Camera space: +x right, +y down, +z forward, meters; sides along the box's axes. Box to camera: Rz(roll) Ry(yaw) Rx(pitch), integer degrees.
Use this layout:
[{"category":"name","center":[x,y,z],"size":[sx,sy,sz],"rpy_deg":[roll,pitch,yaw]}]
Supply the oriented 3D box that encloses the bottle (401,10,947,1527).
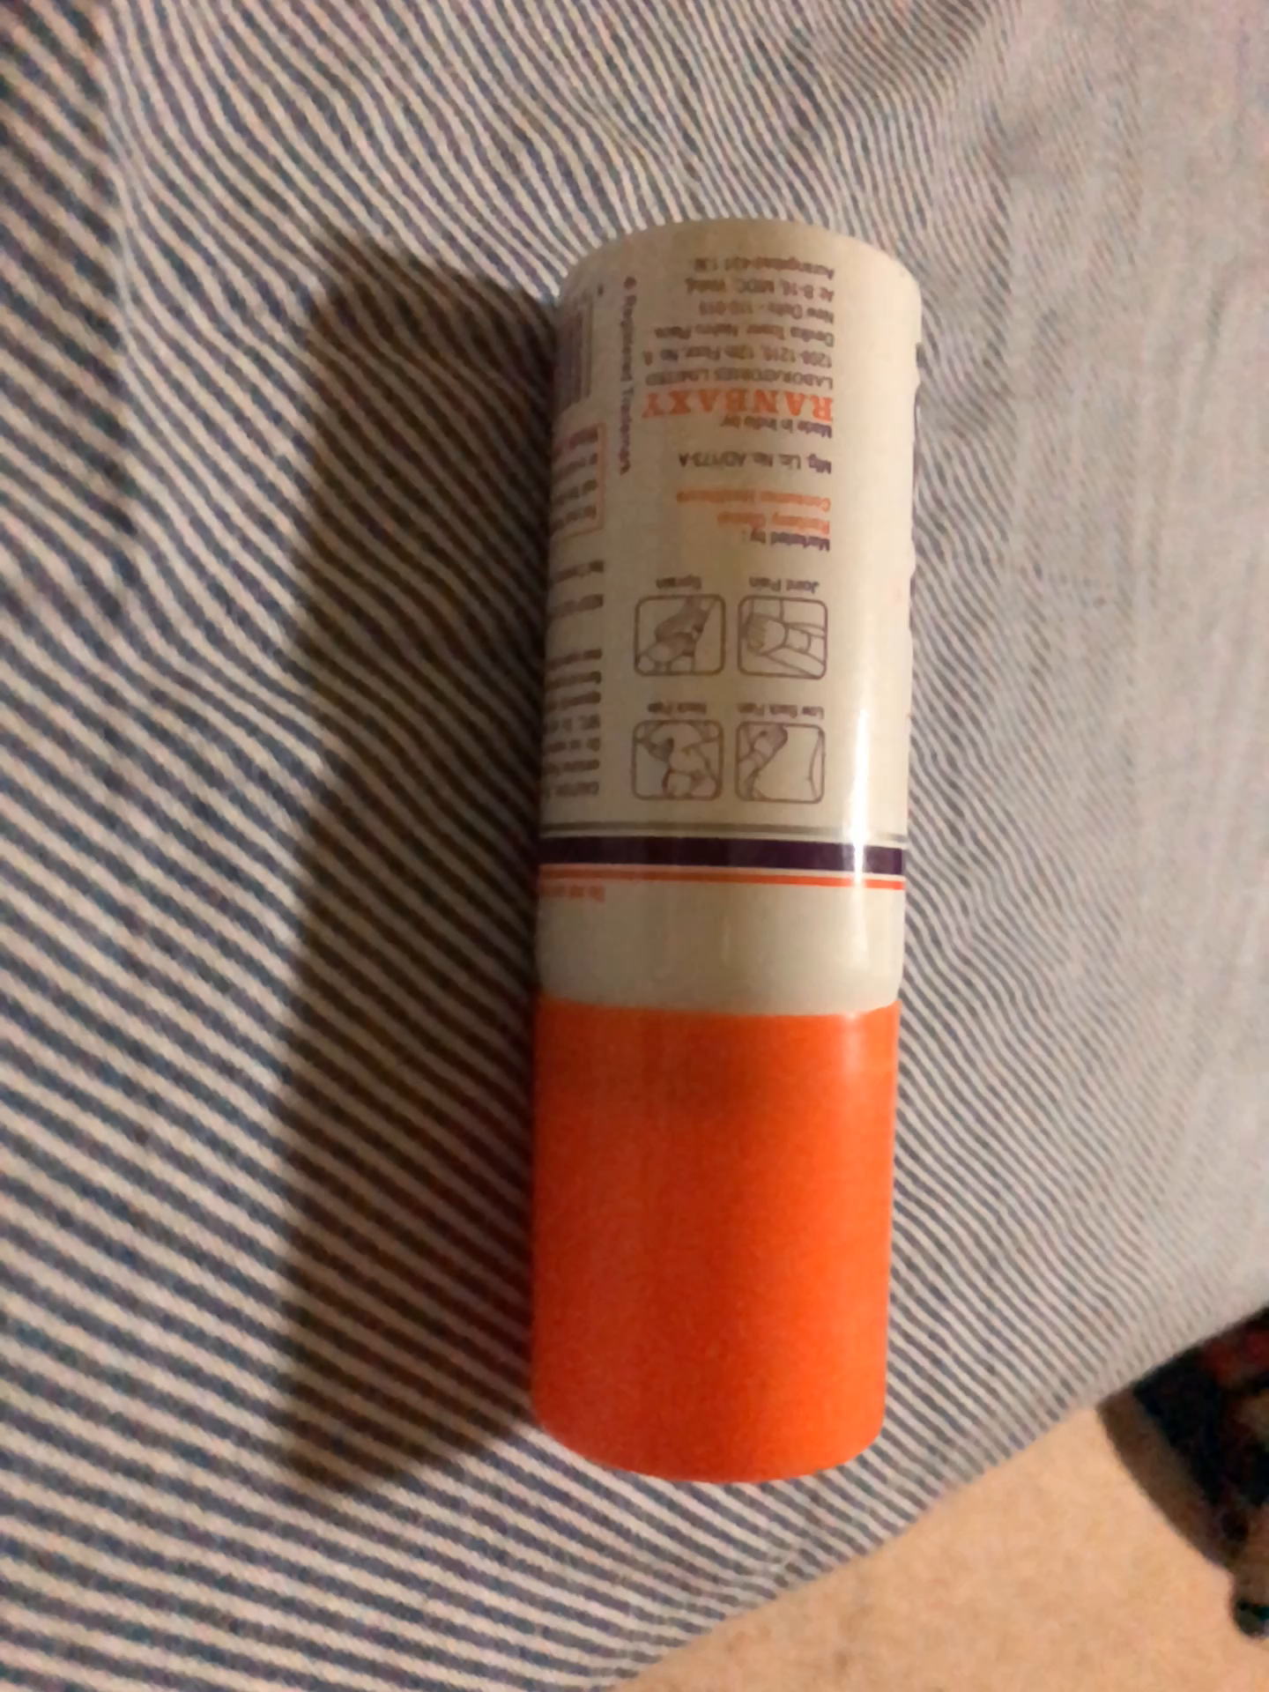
[{"category":"bottle","center":[0.006,-0.007,0.136],"size":[0.040,0.040,0.120],"rpy_deg":[11,82,-81]}]
